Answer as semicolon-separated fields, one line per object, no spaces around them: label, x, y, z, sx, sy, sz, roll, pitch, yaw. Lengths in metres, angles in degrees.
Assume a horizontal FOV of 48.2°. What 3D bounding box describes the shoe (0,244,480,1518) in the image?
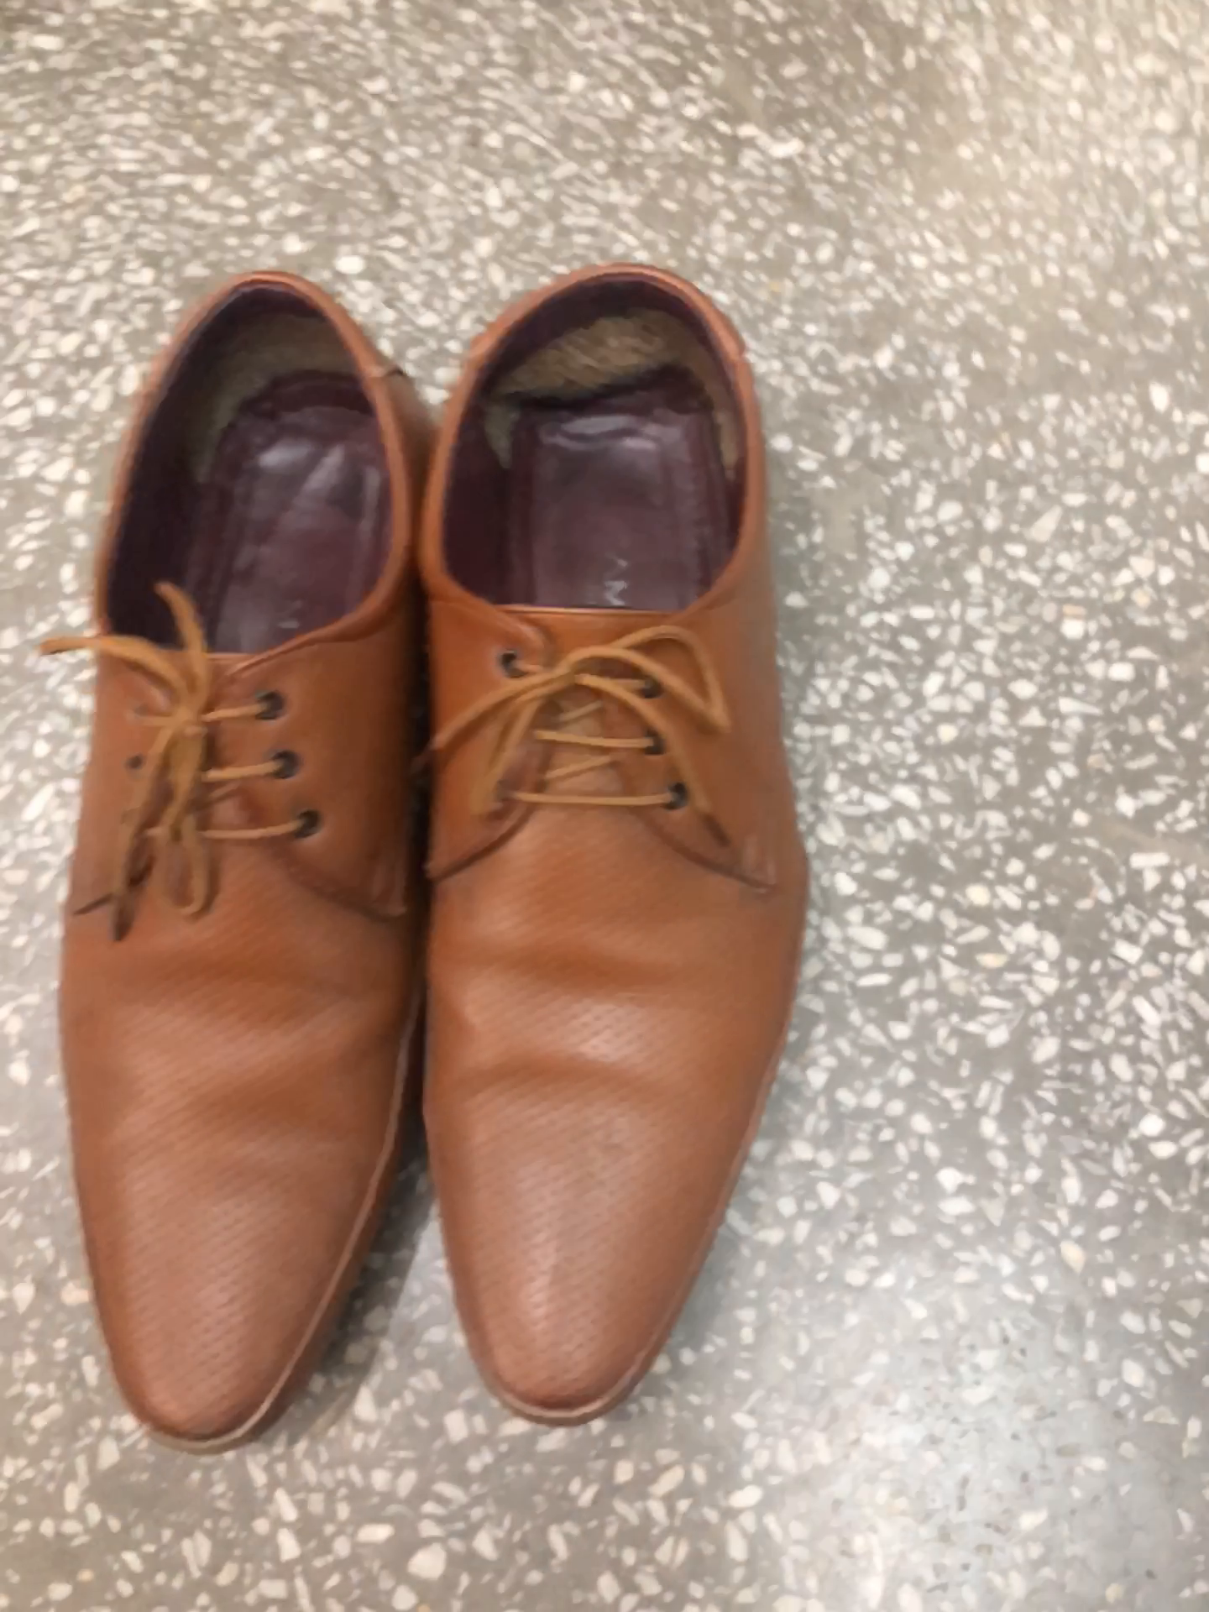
shoe;-0.099;0.014;0.355;0.105;0.118;0.284;1;75;2

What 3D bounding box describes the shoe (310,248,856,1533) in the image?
shoe;0.001;0.016;0.353;0.105;0.118;0.284;1;75;2
